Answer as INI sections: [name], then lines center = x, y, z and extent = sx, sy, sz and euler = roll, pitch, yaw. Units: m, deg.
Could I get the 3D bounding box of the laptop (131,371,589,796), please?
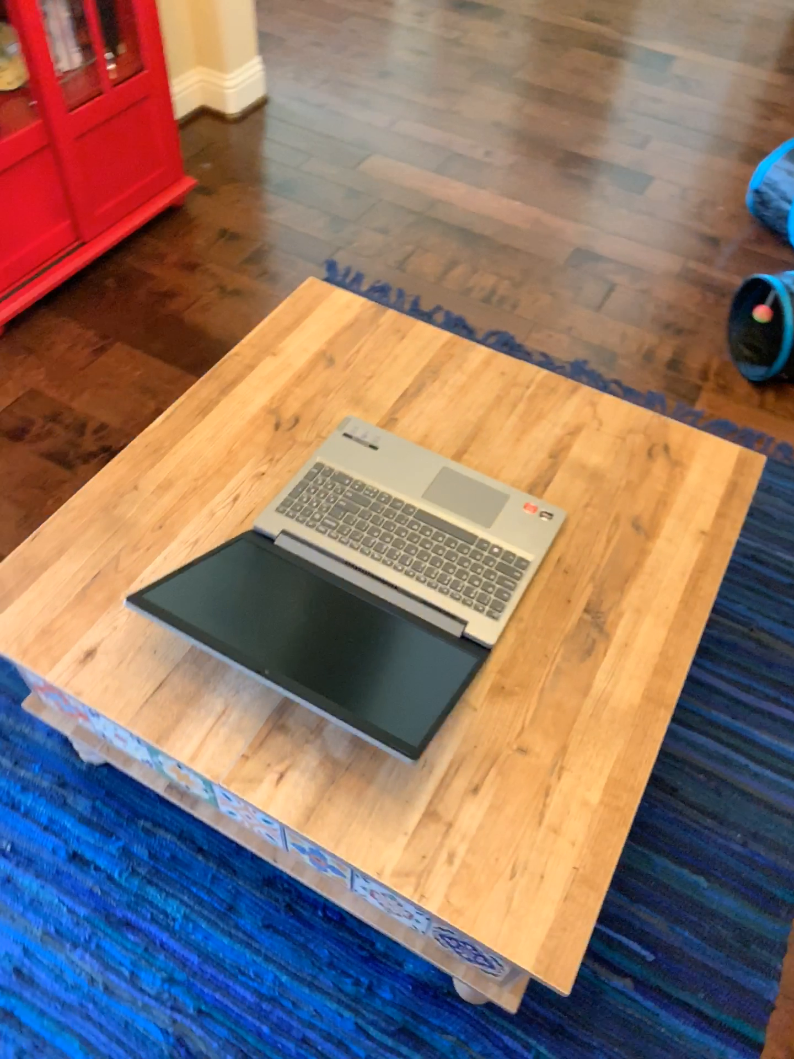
[laptop]
center = -0.019, 0.028, 0.994
extent = 0.346, 0.099, 0.462
euler = 26, 52, 15
